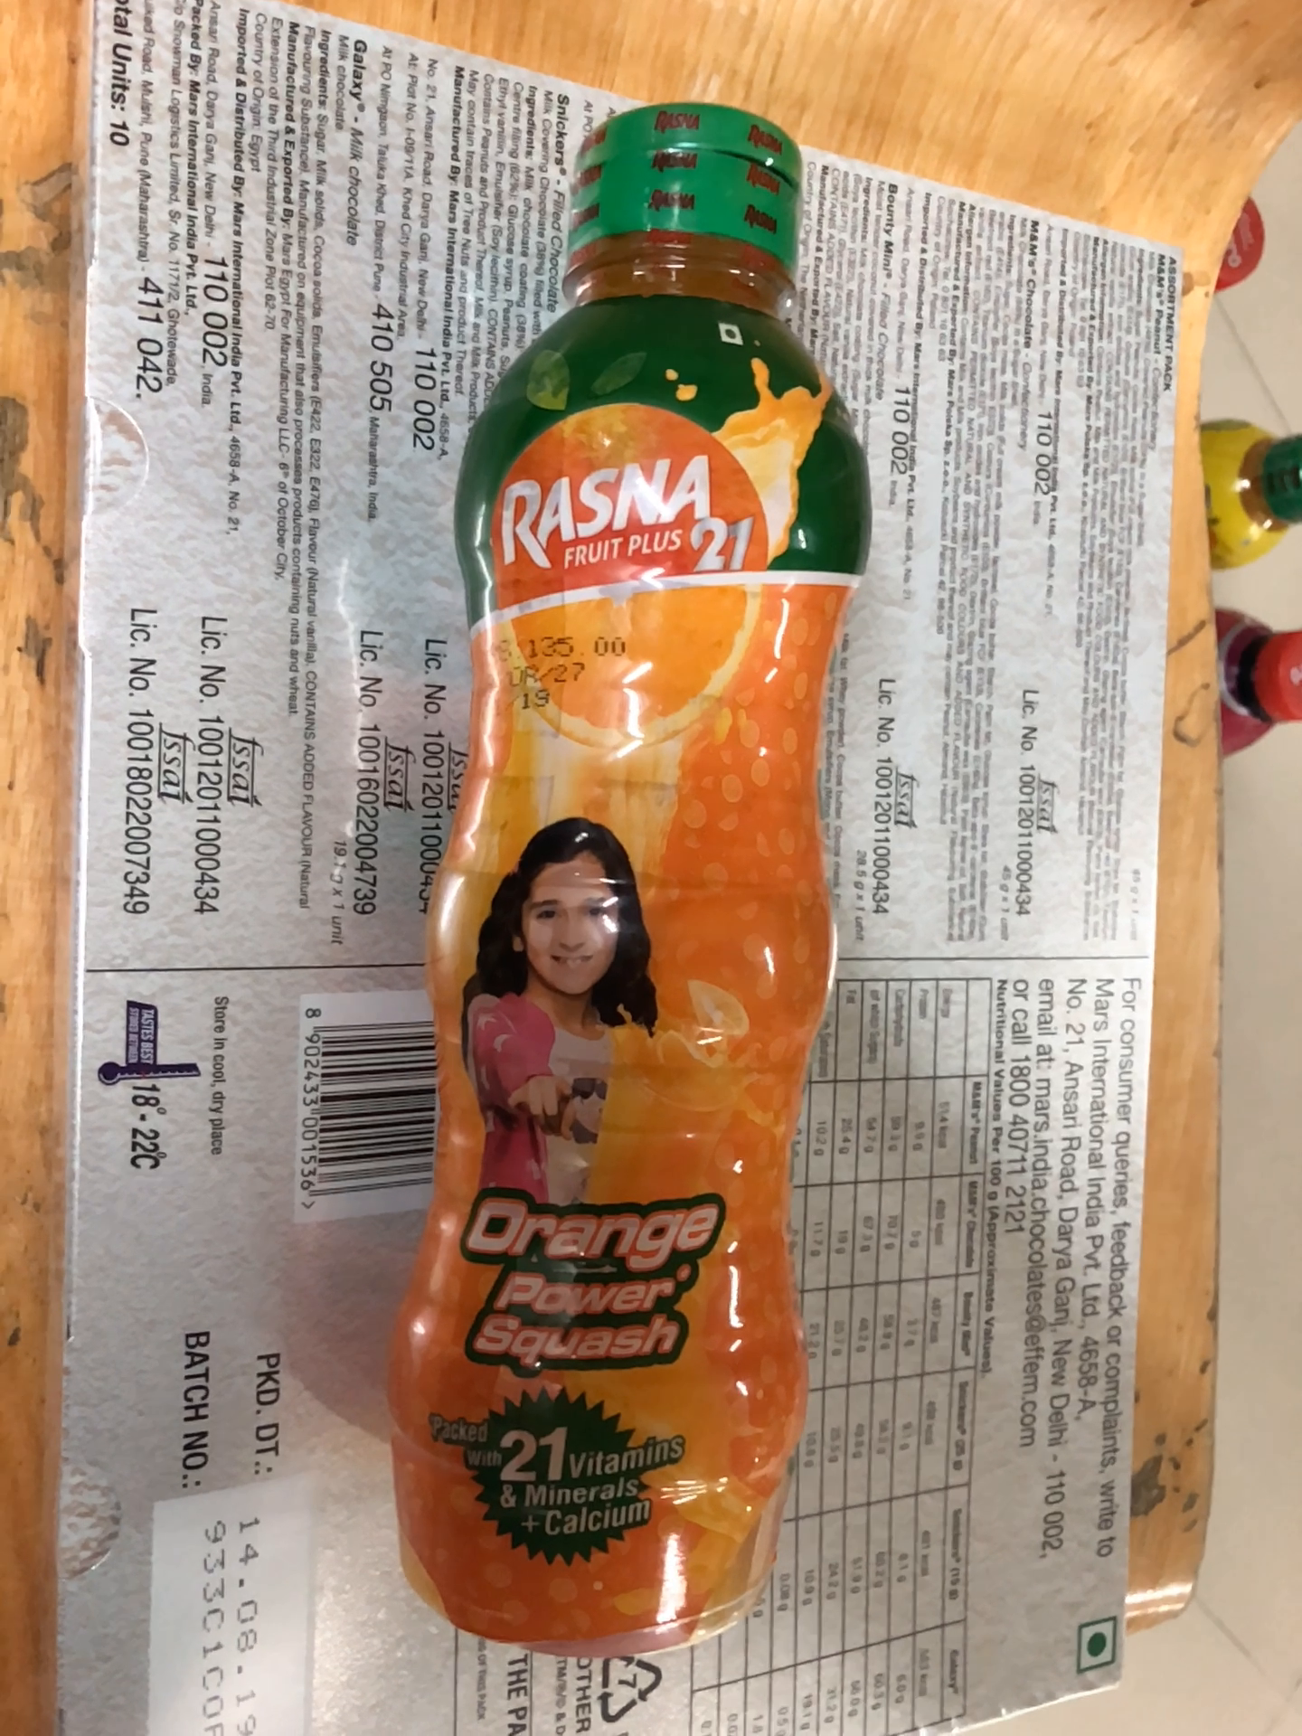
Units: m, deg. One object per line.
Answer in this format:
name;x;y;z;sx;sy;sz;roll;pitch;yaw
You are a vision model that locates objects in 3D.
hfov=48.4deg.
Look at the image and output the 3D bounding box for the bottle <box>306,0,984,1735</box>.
bottle;0.002;-0.008;0.245;0.080;0.070;0.250;-1;95;-62
